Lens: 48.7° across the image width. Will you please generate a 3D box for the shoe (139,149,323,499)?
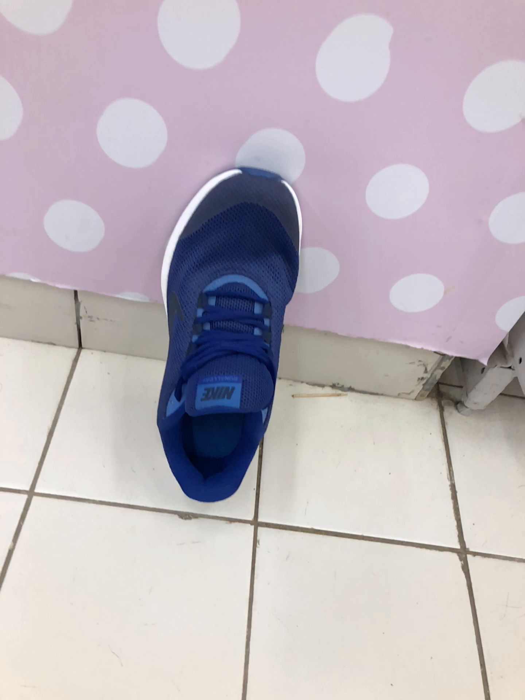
[{"bbox_3d":[-0.031,-0.020,0.467,0.100,0.240,0.110,7,7,-9],"label":"shoe"}]
